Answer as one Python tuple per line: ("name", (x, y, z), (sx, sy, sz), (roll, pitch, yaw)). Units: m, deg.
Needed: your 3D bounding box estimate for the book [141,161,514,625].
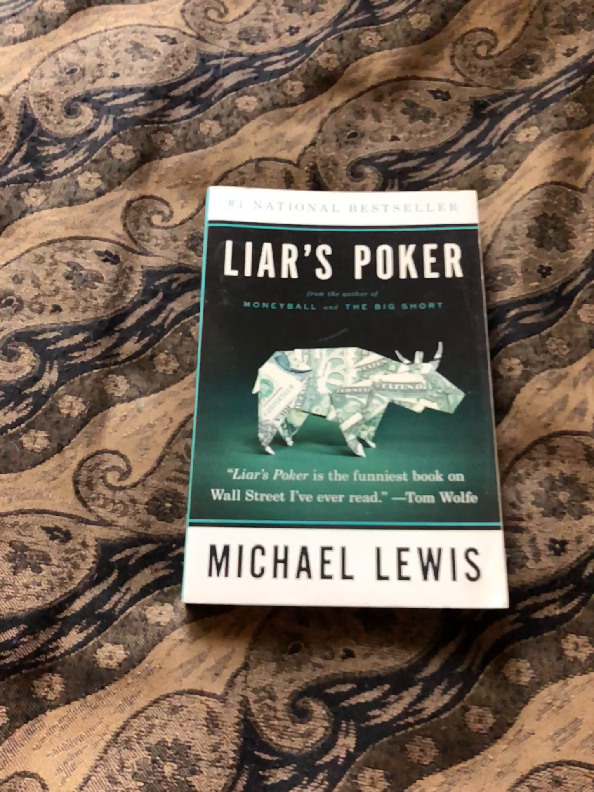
("book", (0.017, -0.007, 0.316), (0.150, 0.040, 0.210), (2, 74, 3))
